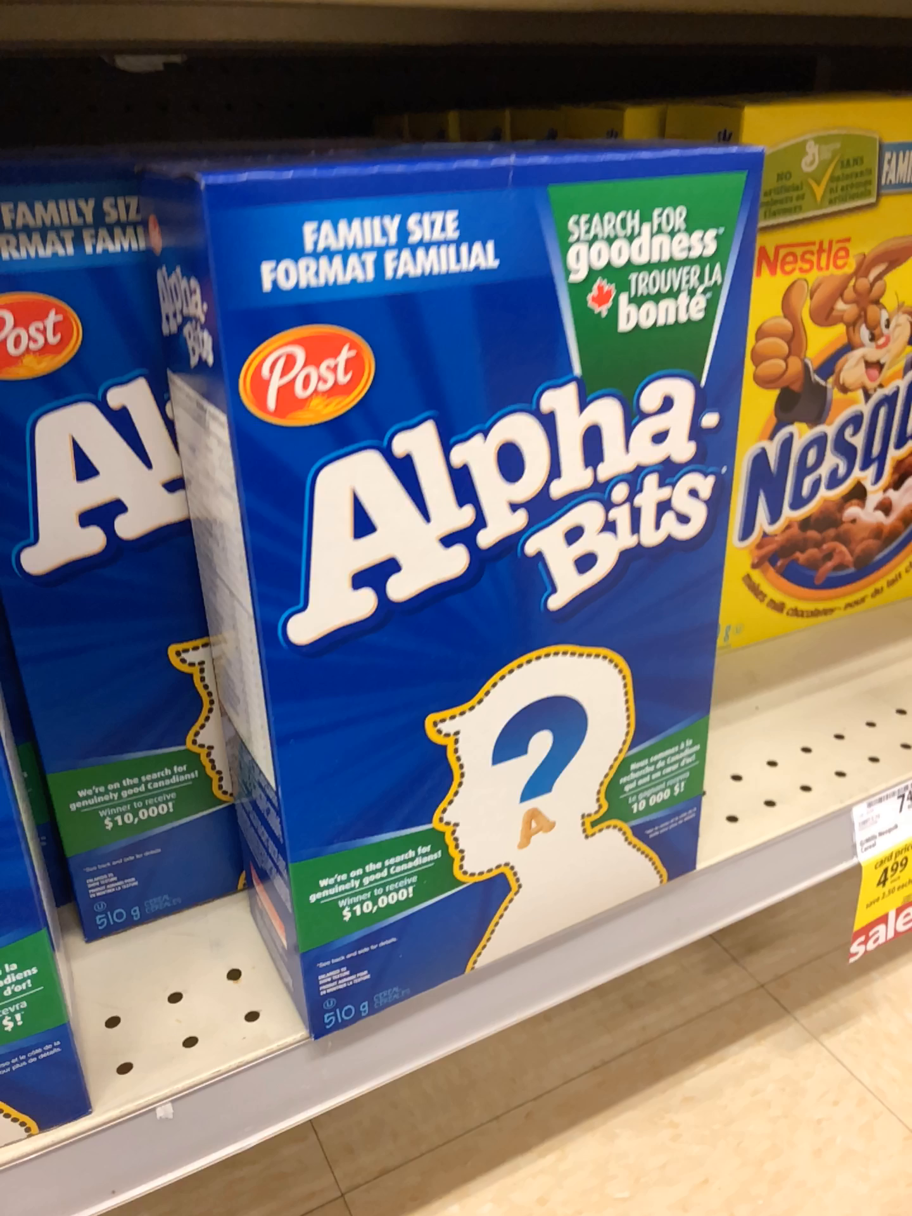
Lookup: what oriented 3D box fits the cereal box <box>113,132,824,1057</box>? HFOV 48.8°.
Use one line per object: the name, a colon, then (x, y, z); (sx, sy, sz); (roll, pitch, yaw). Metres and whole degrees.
cereal box: (0.012, -0.011, 0.378); (0.210, 0.298, 0.080); (-15, 28, -26)
